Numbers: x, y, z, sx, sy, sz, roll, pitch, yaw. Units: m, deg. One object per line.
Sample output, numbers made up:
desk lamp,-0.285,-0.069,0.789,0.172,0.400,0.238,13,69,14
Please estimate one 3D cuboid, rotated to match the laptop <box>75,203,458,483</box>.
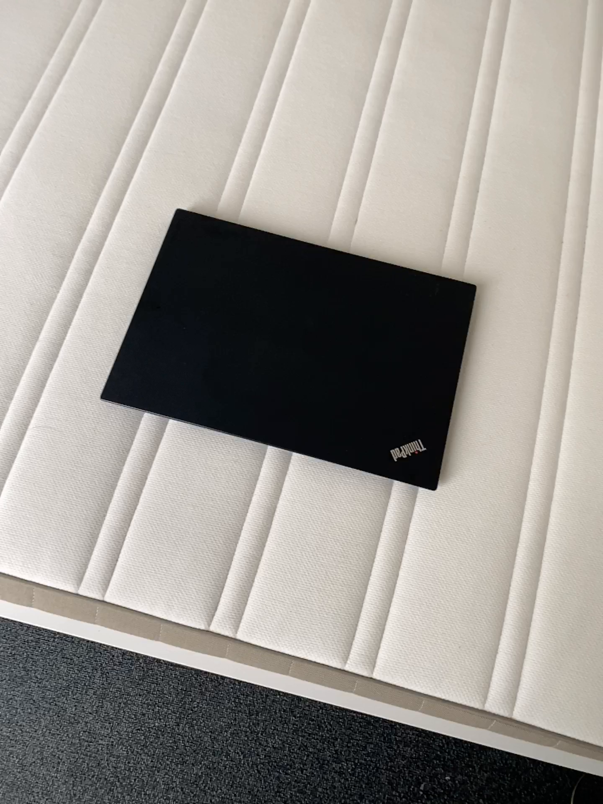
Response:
laptop,-0.024,-0.068,0.612,0.325,0.012,0.226,15,68,2
